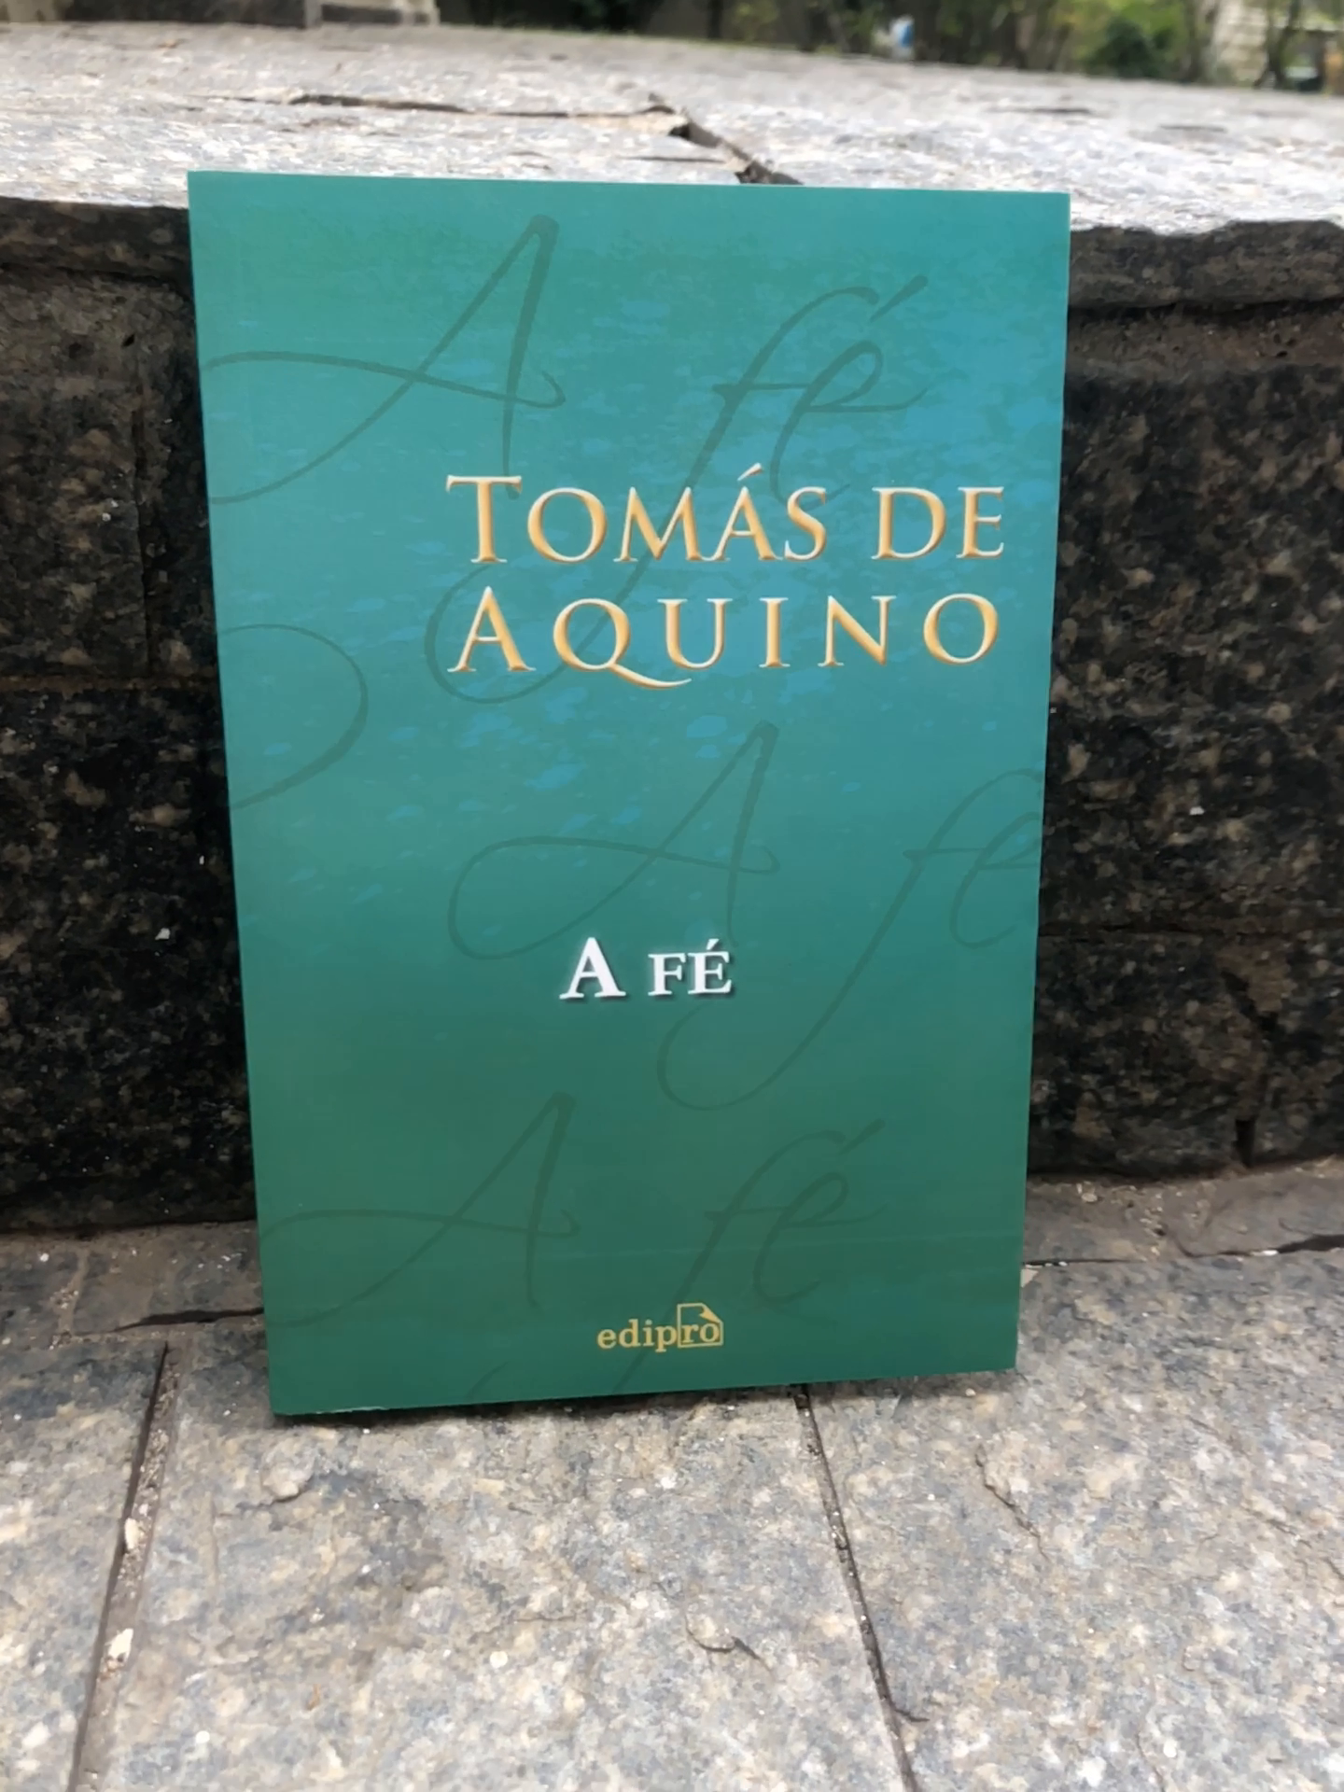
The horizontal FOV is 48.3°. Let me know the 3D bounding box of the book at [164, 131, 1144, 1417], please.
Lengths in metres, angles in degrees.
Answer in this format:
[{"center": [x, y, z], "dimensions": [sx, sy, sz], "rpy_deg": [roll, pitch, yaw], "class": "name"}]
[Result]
[{"center": [-0.002, -0.013, 0.249], "dimensions": [0.142, 0.199, 0.020], "rpy_deg": [-1, 14, -7], "class": "book"}]
